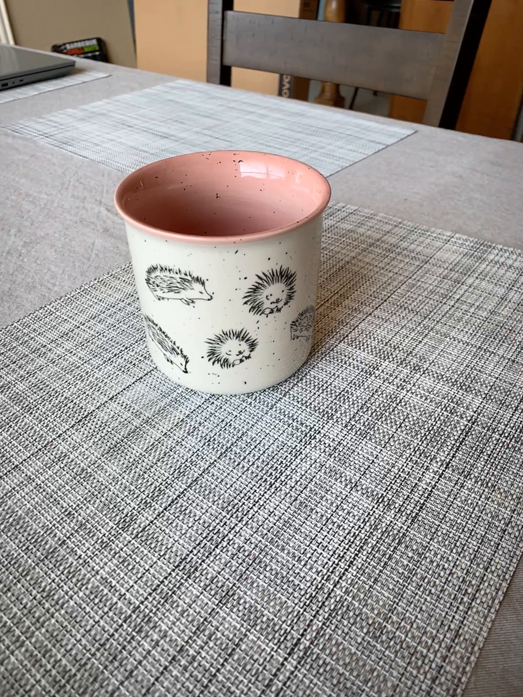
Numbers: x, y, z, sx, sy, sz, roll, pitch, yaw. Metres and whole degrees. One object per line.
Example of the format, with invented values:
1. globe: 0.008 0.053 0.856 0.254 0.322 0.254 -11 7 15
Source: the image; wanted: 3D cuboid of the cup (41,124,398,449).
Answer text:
1. cup: -0.025 -0.049 0.320 0.150 0.106 0.121 31 49 34
